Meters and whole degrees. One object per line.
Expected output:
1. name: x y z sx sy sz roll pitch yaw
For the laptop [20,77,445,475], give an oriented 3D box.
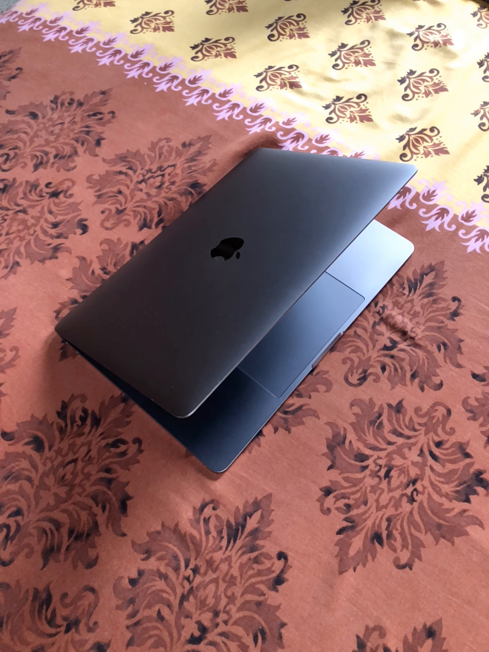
1. laptop: -0.004 -0.059 0.471 0.204 0.093 0.286 37 70 20
